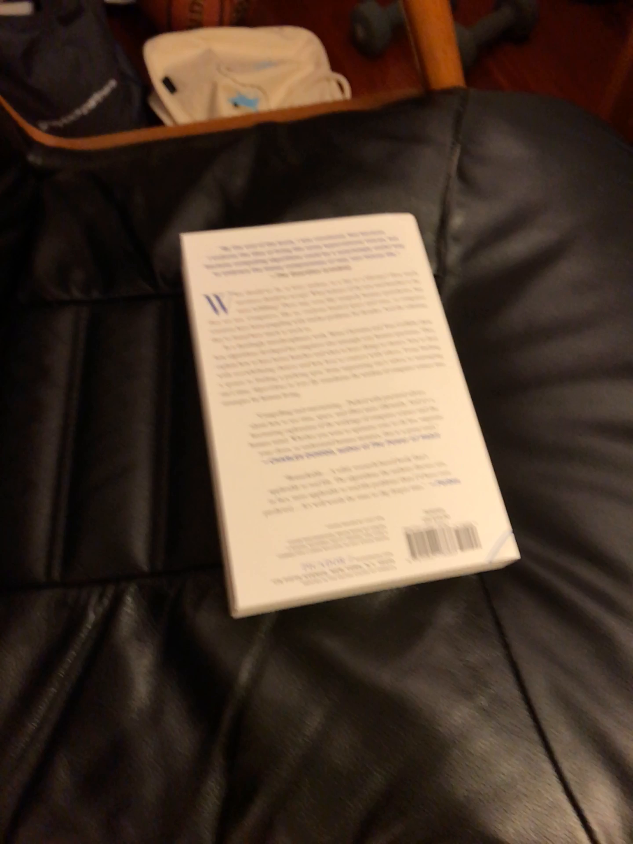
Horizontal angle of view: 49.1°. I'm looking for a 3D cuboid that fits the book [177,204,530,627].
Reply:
[{"bbox_3d":[0.011,-0.020,0.420,0.160,0.020,0.251,-9,66,-8],"label":"book"}]
